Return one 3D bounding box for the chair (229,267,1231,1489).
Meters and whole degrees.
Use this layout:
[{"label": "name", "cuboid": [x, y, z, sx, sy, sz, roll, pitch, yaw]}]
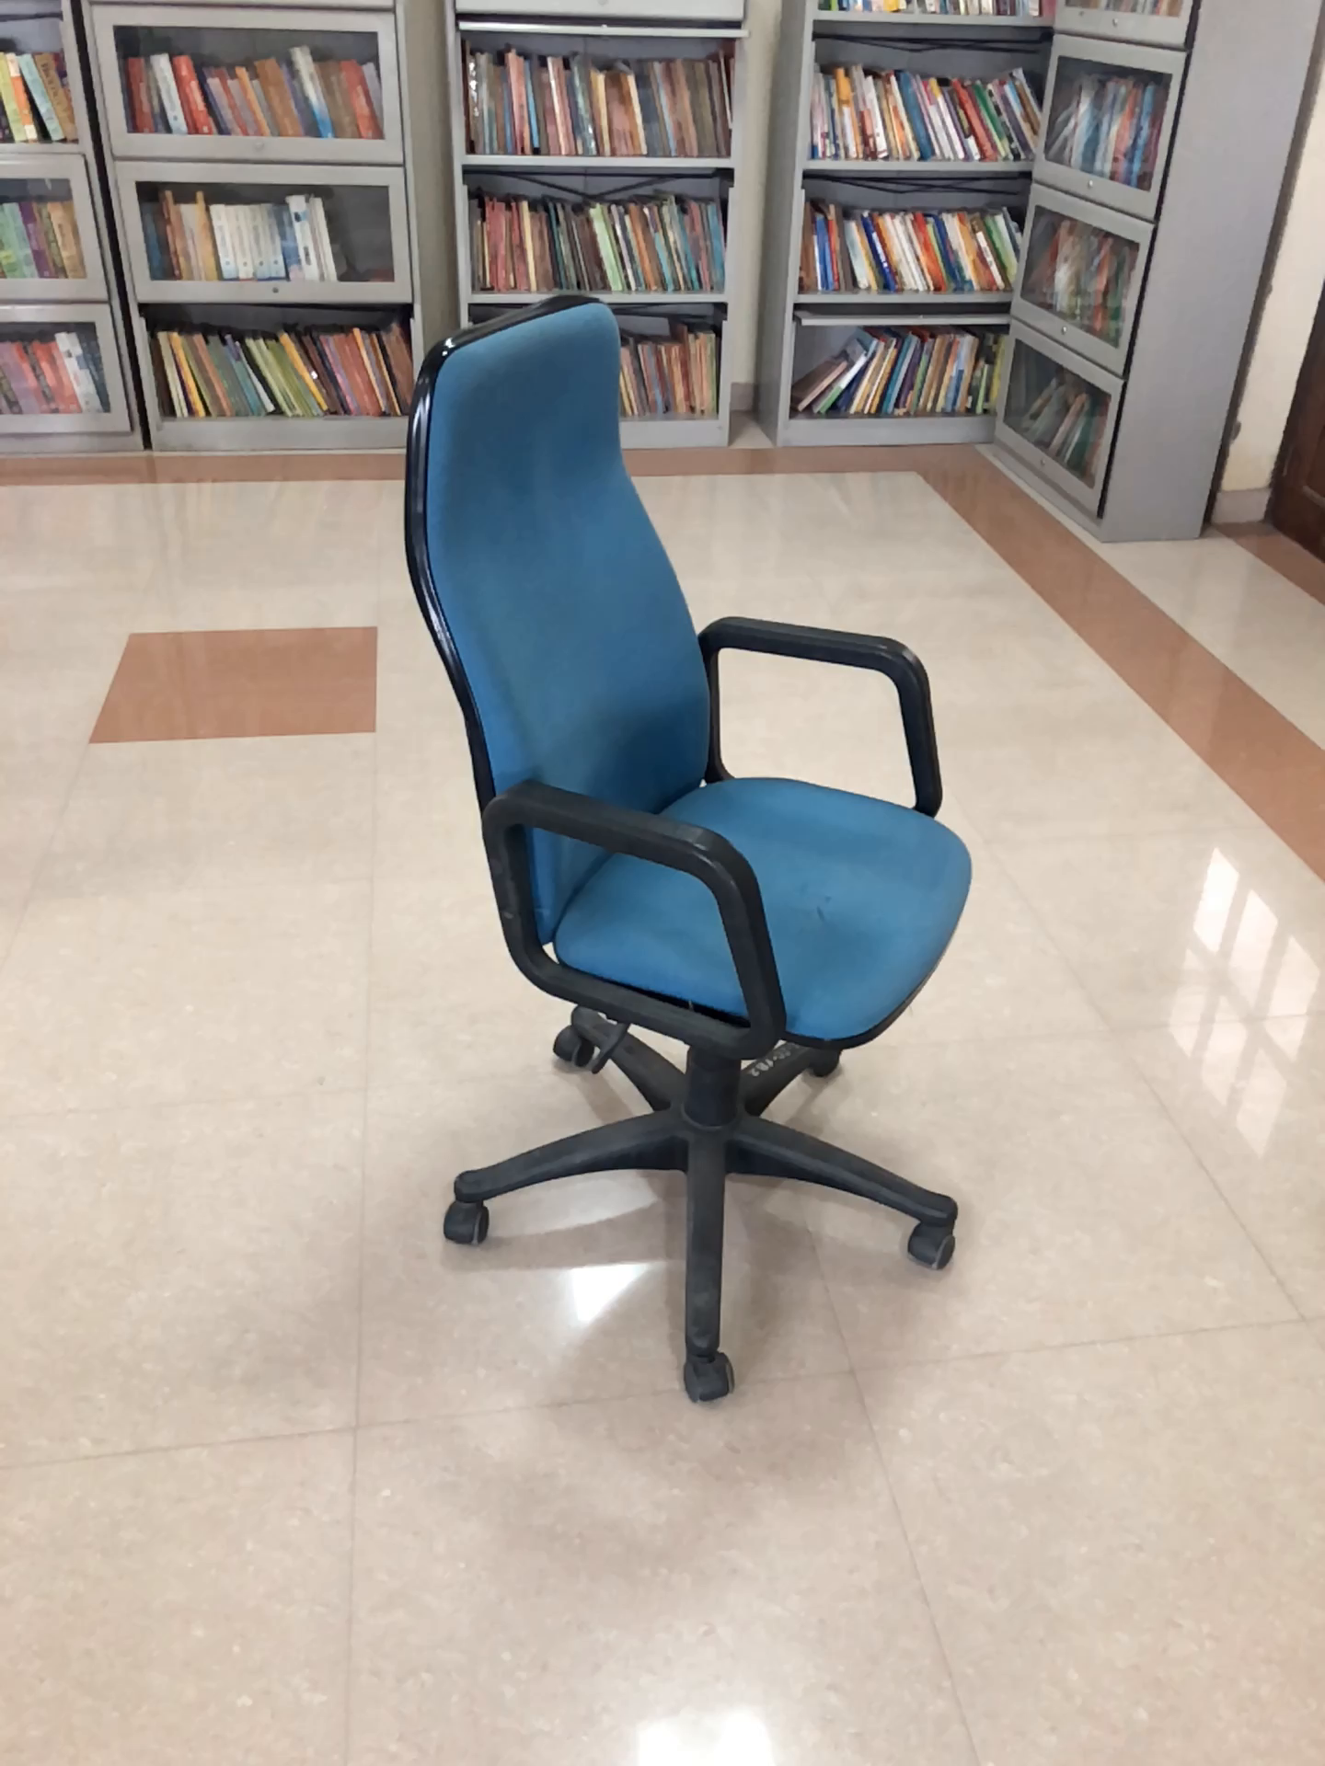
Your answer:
[{"label": "chair", "cuboid": [0.101, -0.064, 1.738, 0.761, 1.076, 0.742, 16, 35, 21]}]
